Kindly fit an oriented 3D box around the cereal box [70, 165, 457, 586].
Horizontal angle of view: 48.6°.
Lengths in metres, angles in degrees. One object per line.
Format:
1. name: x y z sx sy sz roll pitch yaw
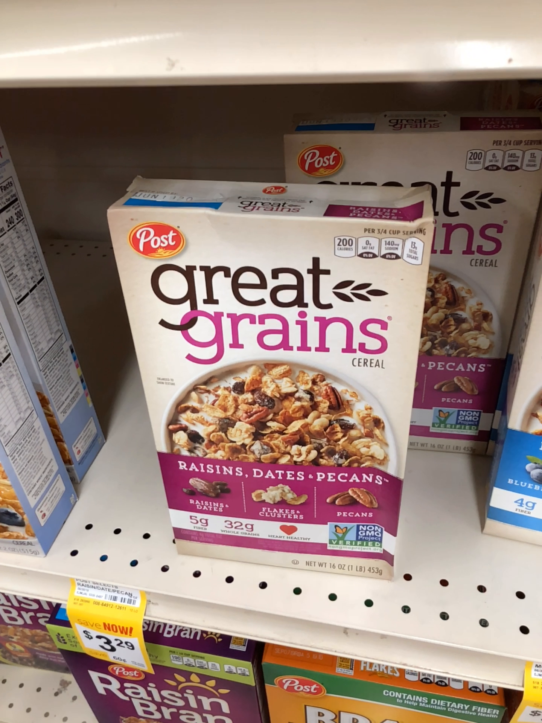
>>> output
1. cereal box: 0.004 0.025 0.360 0.170 0.269 0.050 4 38 10
